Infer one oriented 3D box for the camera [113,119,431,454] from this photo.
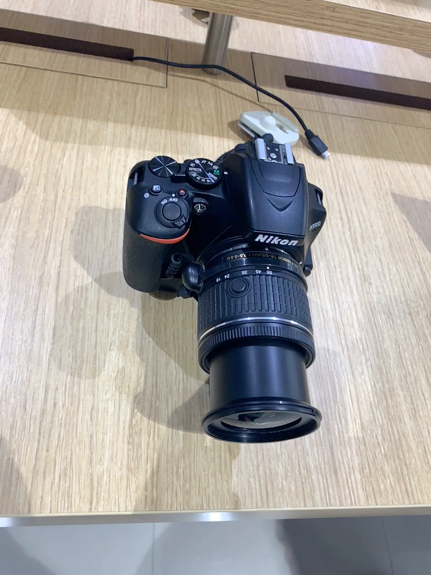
[{"bbox_3d":[0.013,0.005,0.226,0.117,0.095,0.131,3,57,-11],"label":"camera"}]
